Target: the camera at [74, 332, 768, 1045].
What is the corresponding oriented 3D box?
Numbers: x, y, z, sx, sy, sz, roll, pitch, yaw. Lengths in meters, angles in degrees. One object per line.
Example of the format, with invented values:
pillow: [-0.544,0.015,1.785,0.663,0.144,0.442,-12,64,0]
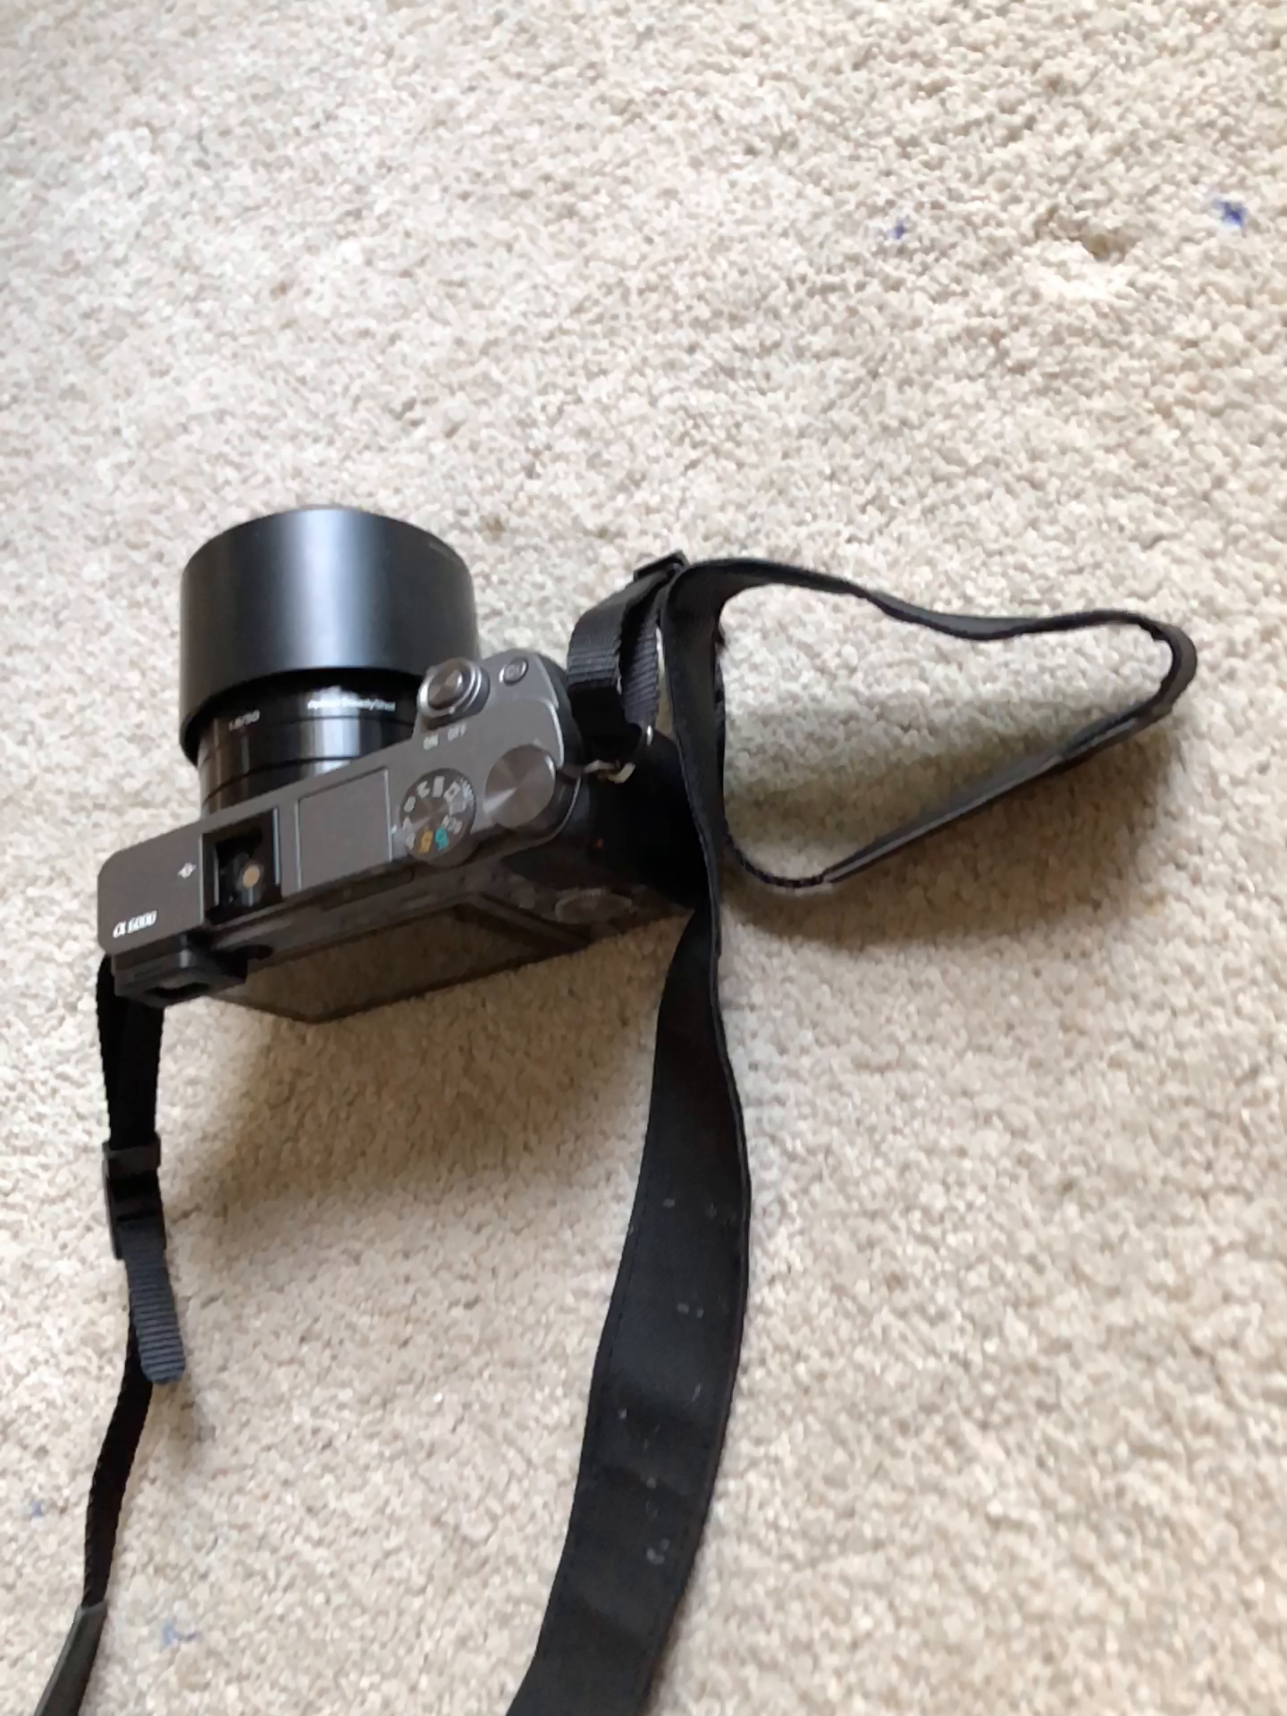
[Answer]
camera: [-0.049,-0.027,0.305,0.120,0.070,0.100,-17,67,24]
